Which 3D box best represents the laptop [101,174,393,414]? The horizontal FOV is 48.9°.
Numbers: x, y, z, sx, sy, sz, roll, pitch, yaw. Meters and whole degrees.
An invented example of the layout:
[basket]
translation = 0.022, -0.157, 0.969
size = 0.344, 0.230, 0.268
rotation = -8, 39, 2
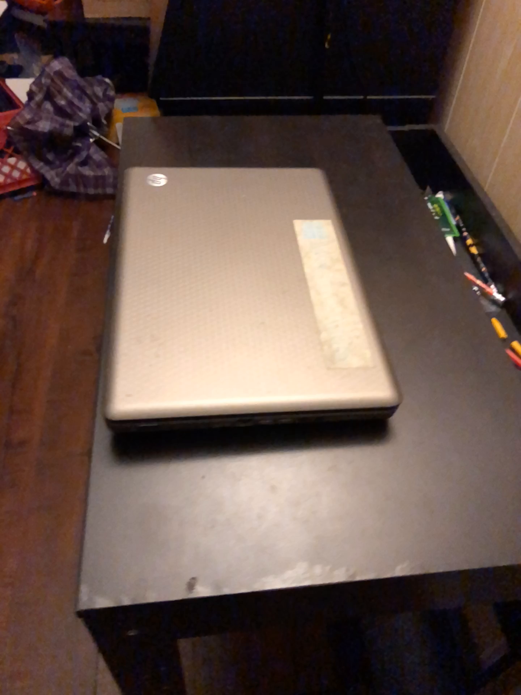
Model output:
[laptop]
translation = -0.027, -0.083, 0.585
size = 0.237, 0.001, 0.359
rotation = -2, 47, -6
